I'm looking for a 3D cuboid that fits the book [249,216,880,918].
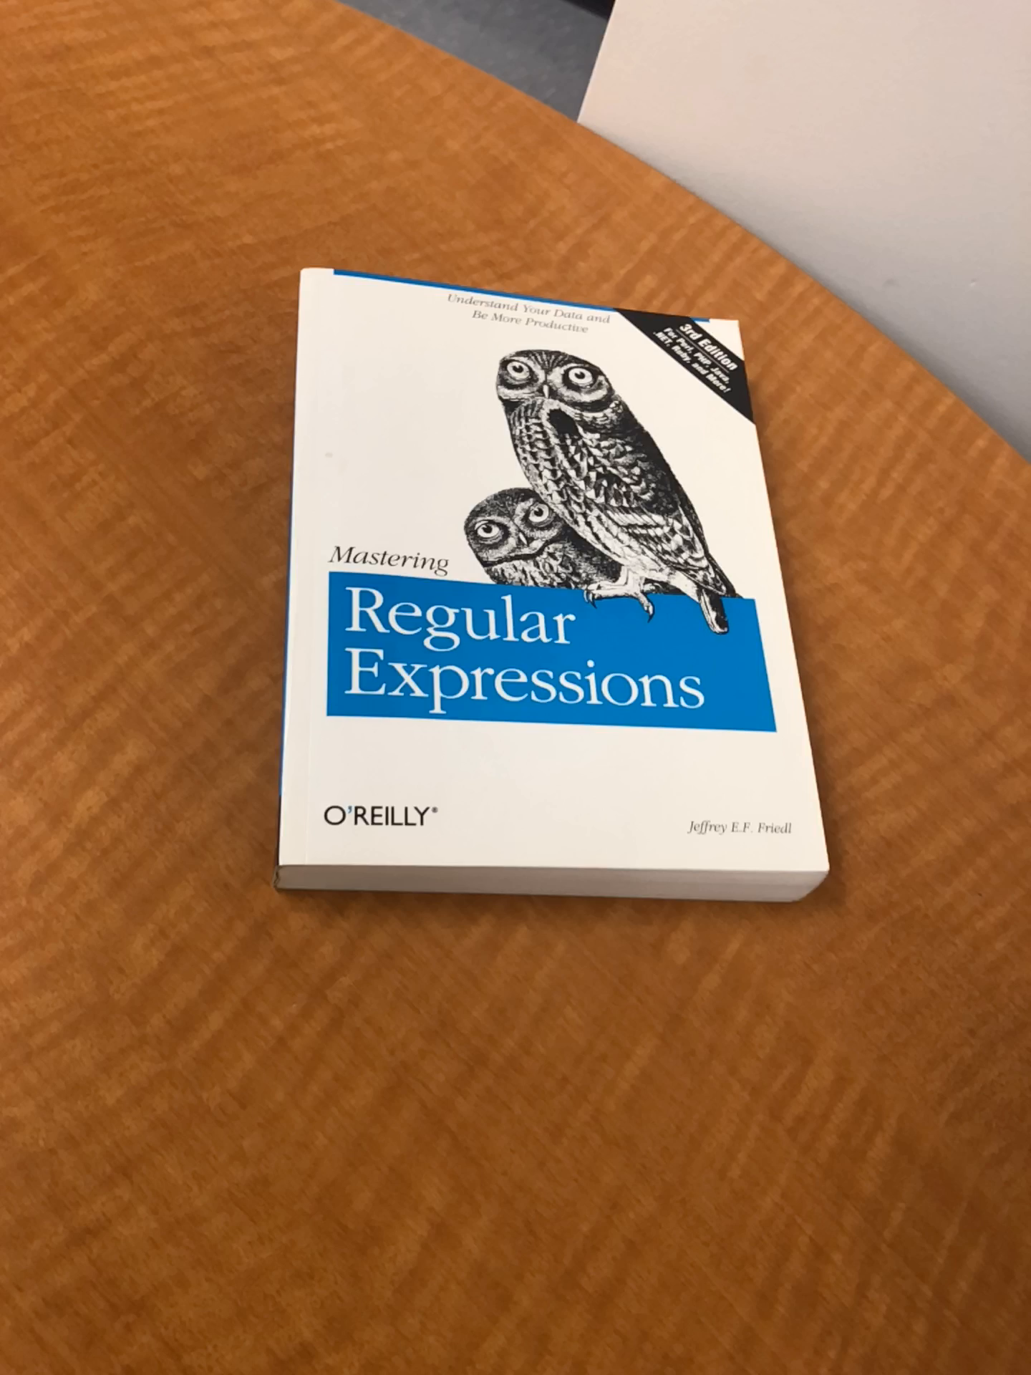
[{"bbox_3d":[0.012,-0.050,0.425,0.200,0.040,0.261,4,64,-13],"label":"book"}]
